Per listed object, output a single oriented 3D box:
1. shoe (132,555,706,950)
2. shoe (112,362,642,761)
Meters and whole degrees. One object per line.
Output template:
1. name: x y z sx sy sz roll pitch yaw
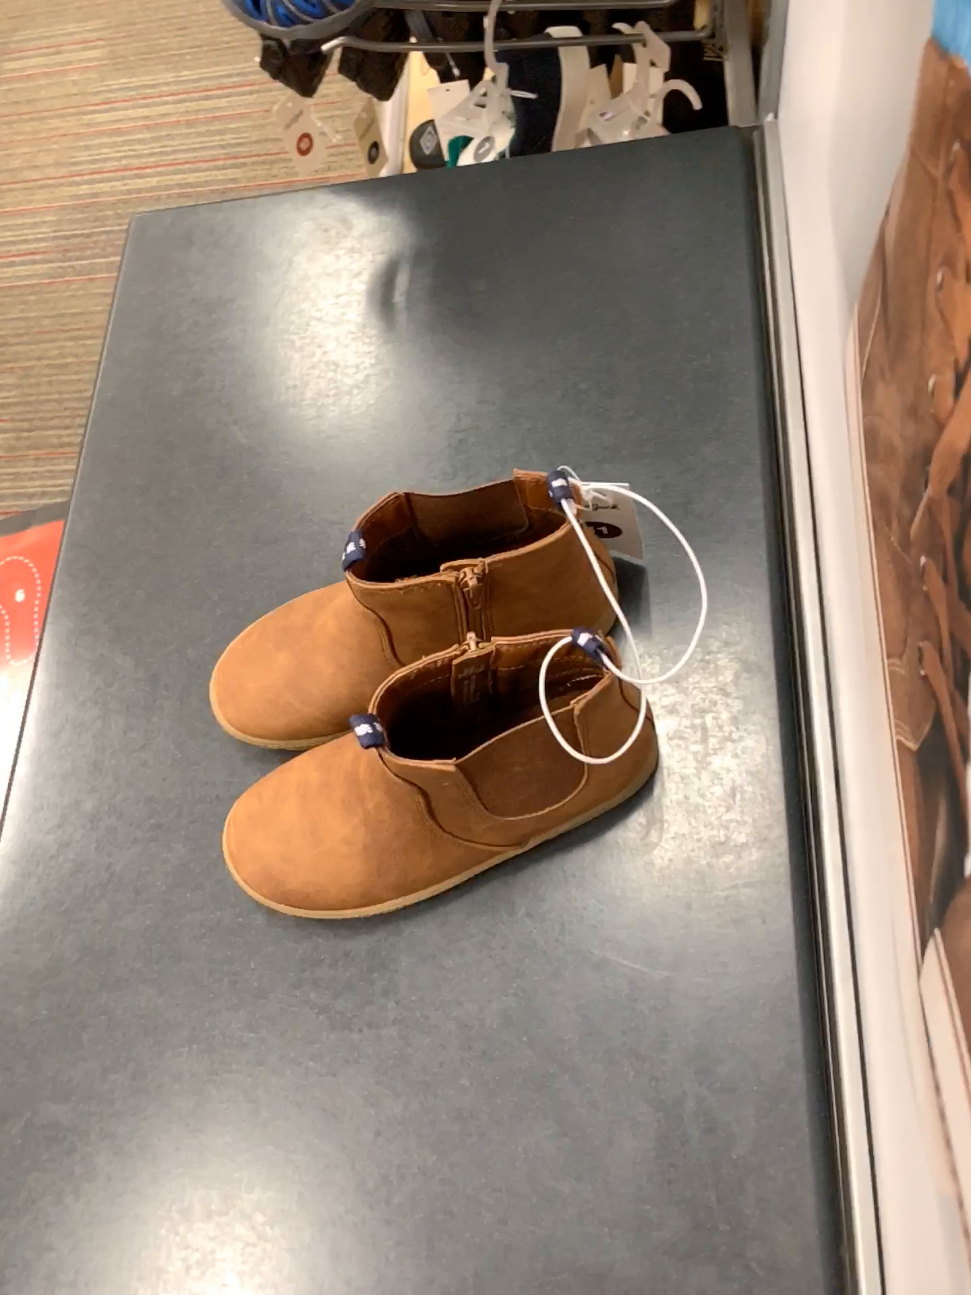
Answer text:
1. shoe: -0.021 0.048 0.385 0.190 0.100 0.086 -14 67 6
2. shoe: -0.040 -0.028 0.418 0.190 0.100 0.086 -14 67 6
